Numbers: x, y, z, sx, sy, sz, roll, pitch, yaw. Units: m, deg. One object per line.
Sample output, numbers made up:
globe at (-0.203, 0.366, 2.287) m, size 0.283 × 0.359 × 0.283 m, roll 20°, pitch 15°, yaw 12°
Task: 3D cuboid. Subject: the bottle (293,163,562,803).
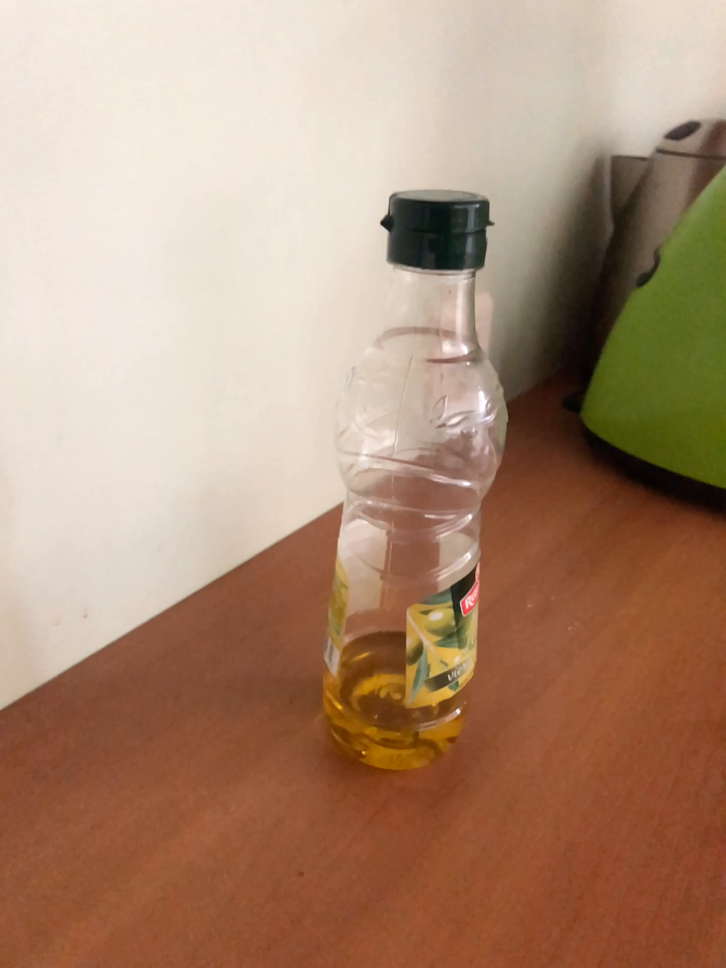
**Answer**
bottle at (0.020, 0.005, 0.323) m, size 0.070 × 0.239 × 0.070 m, roll 3°, pitch 26°, yaw -1°
